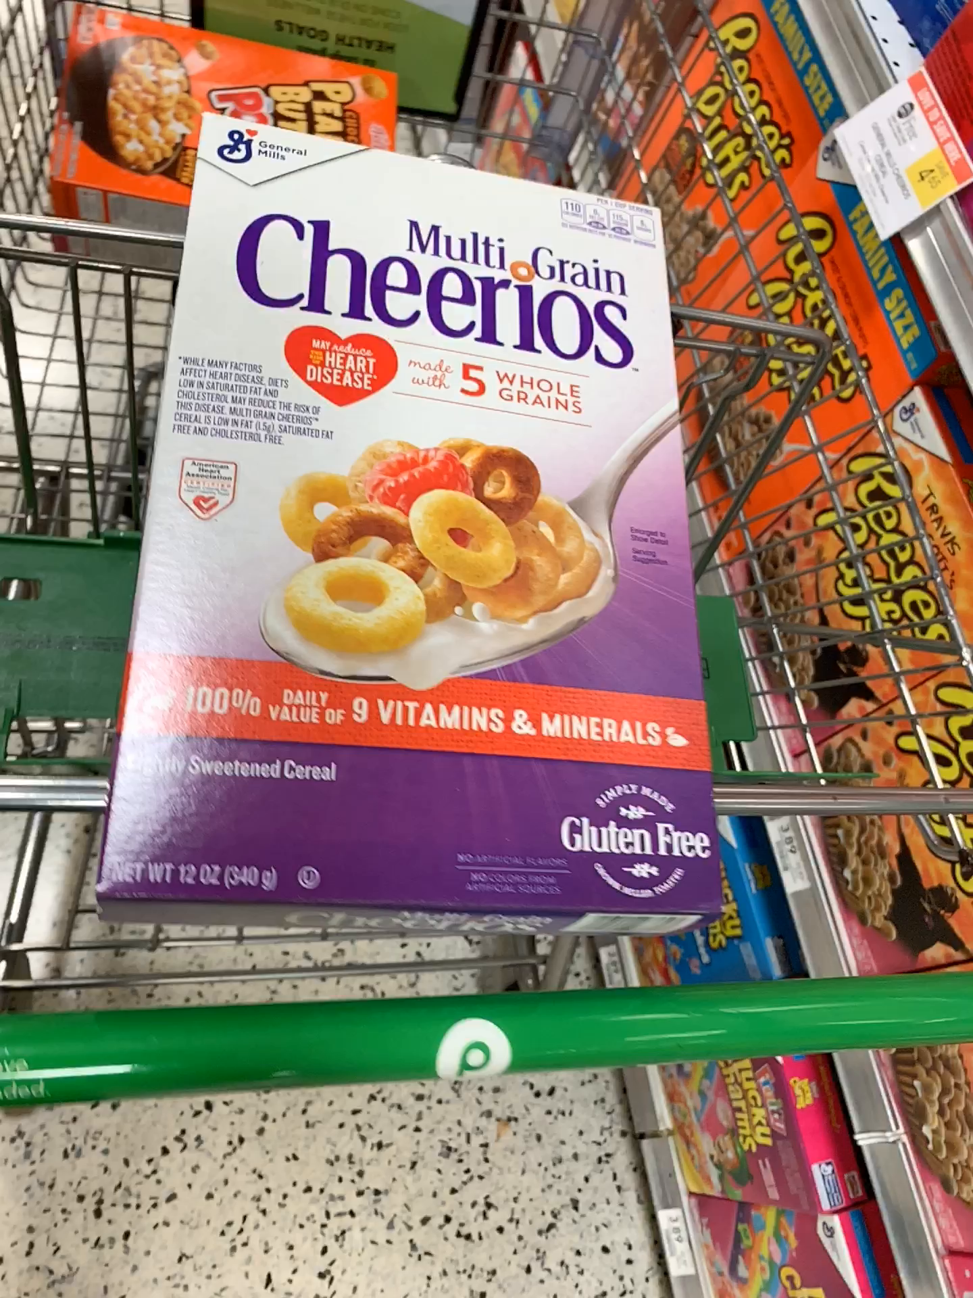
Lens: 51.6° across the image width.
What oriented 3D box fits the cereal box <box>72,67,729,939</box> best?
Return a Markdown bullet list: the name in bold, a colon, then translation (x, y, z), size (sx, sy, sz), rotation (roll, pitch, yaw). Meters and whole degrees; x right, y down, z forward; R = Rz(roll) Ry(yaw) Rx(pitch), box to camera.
- **cereal box**: translation (-0.029, -0.058, 0.392), size (0.200, 0.070, 0.322), rotation (5, 67, -15)
